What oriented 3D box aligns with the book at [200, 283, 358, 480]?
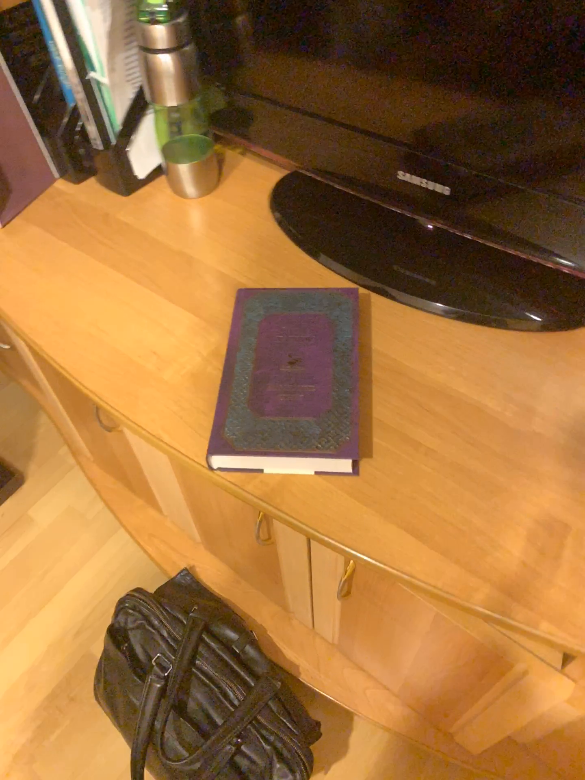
[{"bbox_3d":[-0.004,-0.017,0.562,0.130,0.040,0.202,1,53,5],"label":"book"}]
